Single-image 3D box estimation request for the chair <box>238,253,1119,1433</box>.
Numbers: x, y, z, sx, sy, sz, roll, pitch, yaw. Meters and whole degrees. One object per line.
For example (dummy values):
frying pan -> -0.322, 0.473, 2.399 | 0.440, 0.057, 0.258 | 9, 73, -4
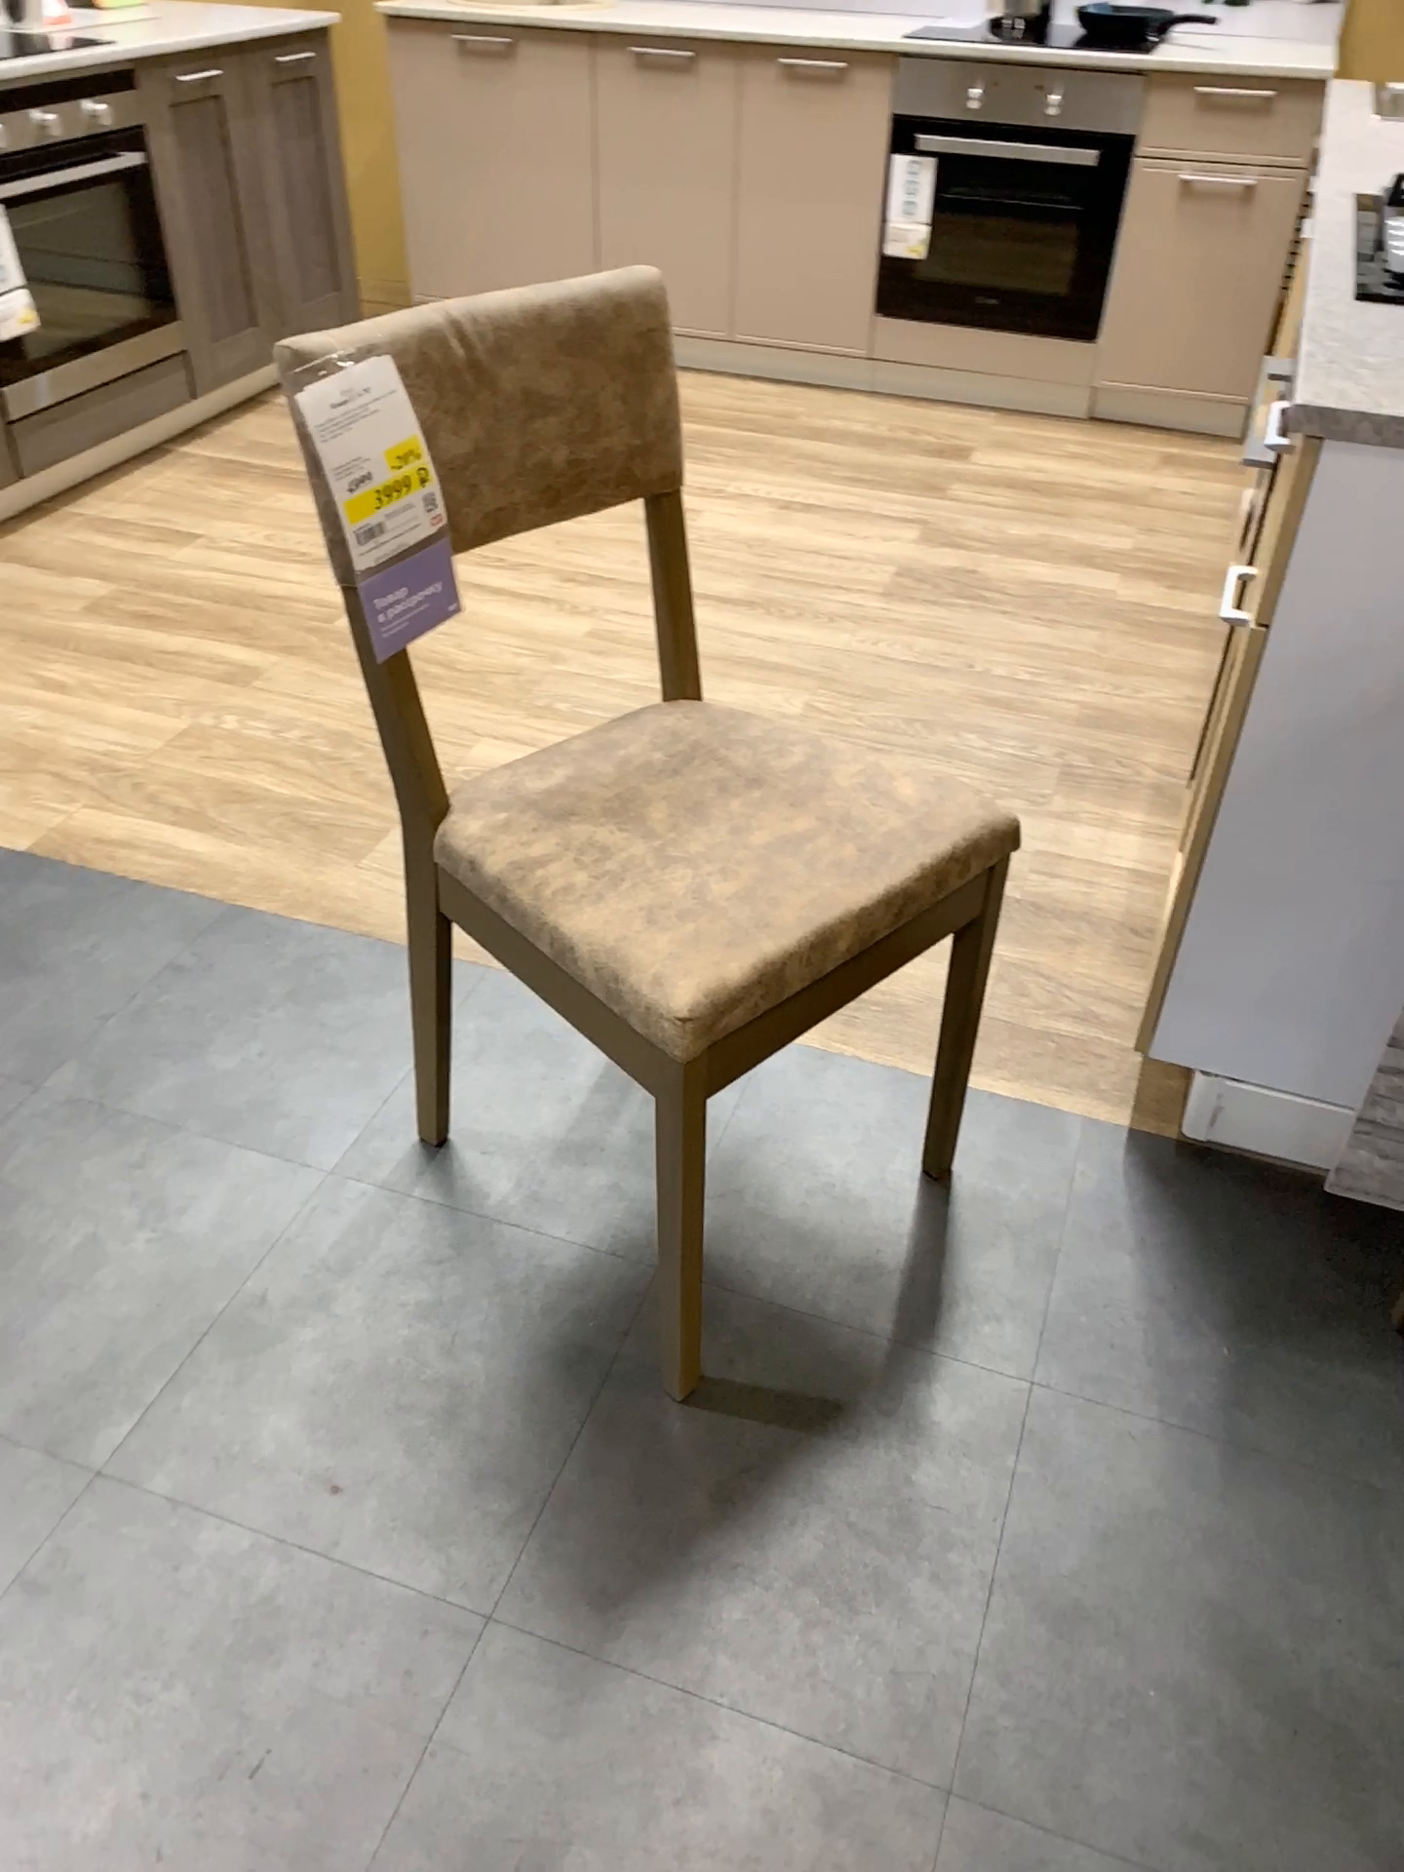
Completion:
chair -> -0.032, -0.095, 1.411 | 0.511, 0.924, 0.482 | 32, 46, 34
